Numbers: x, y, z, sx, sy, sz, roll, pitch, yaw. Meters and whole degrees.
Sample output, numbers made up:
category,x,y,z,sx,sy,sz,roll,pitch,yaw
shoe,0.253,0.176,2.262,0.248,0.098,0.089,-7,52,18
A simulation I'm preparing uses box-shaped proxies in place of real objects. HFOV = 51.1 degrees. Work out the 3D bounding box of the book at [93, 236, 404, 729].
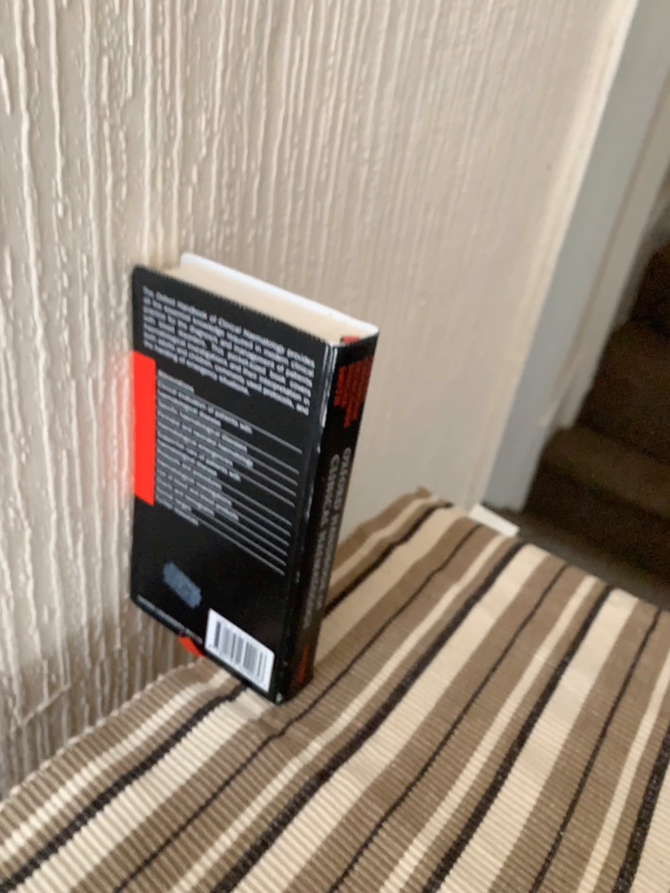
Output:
category,x,y,z,sx,sy,sz,roll,pitch,yaw
book,-0.050,0.019,0.315,0.120,0.188,0.040,25,33,23
